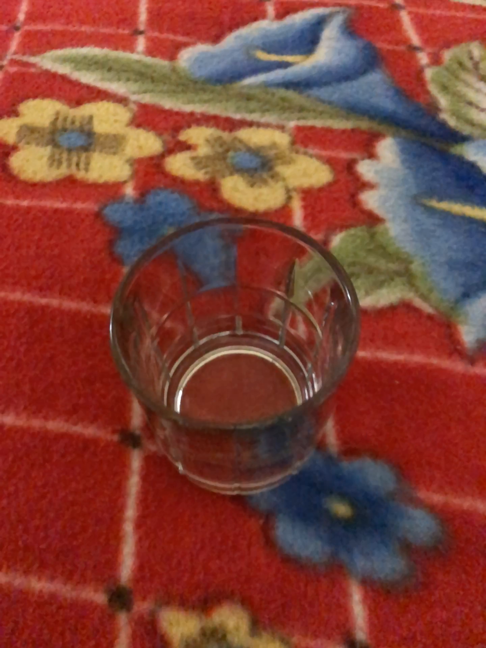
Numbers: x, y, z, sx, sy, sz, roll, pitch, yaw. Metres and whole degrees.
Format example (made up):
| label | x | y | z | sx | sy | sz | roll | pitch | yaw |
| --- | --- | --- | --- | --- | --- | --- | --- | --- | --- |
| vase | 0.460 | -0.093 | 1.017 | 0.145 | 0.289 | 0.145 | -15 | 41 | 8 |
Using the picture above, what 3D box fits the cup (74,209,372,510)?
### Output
| label | x | y | z | sx | sy | sz | roll | pitch | yaw |
| --- | --- | --- | --- | --- | --- | --- | --- | --- | --- |
| cup | -0.006 | 0.018 | 0.212 | 0.083 | 0.088 | 0.084 | 0 | 60 | 0 |
